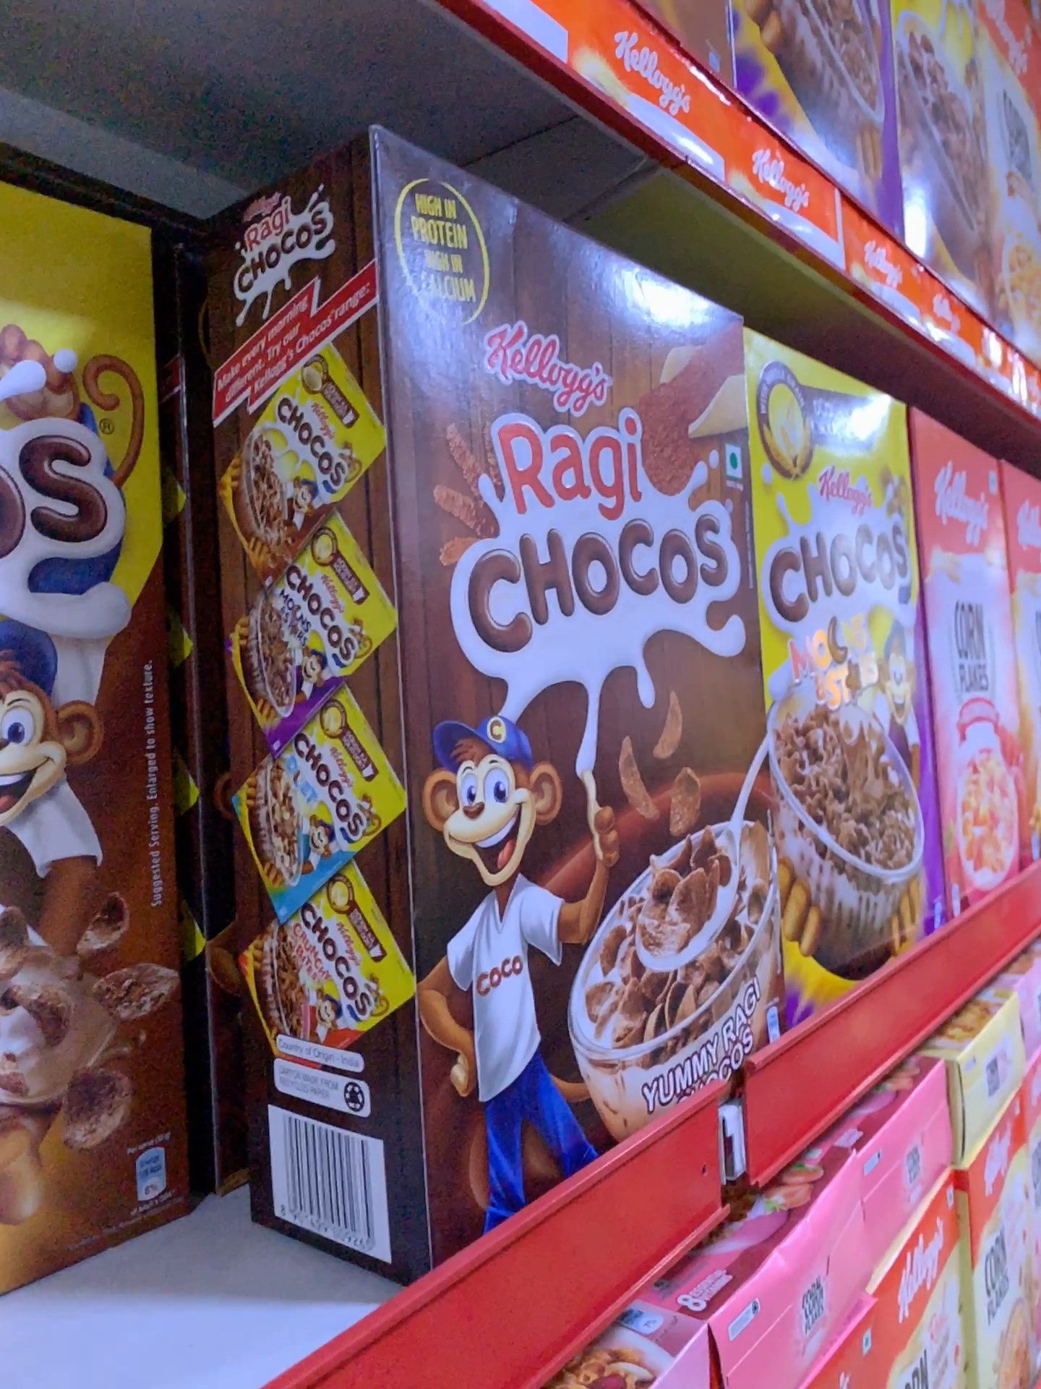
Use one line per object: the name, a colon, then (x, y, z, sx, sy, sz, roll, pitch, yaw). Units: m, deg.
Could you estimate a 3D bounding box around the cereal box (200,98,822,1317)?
cereal box: (0.012, -0.001, 0.302, 0.060, 0.240, 0.180, -4, -1, 39)
